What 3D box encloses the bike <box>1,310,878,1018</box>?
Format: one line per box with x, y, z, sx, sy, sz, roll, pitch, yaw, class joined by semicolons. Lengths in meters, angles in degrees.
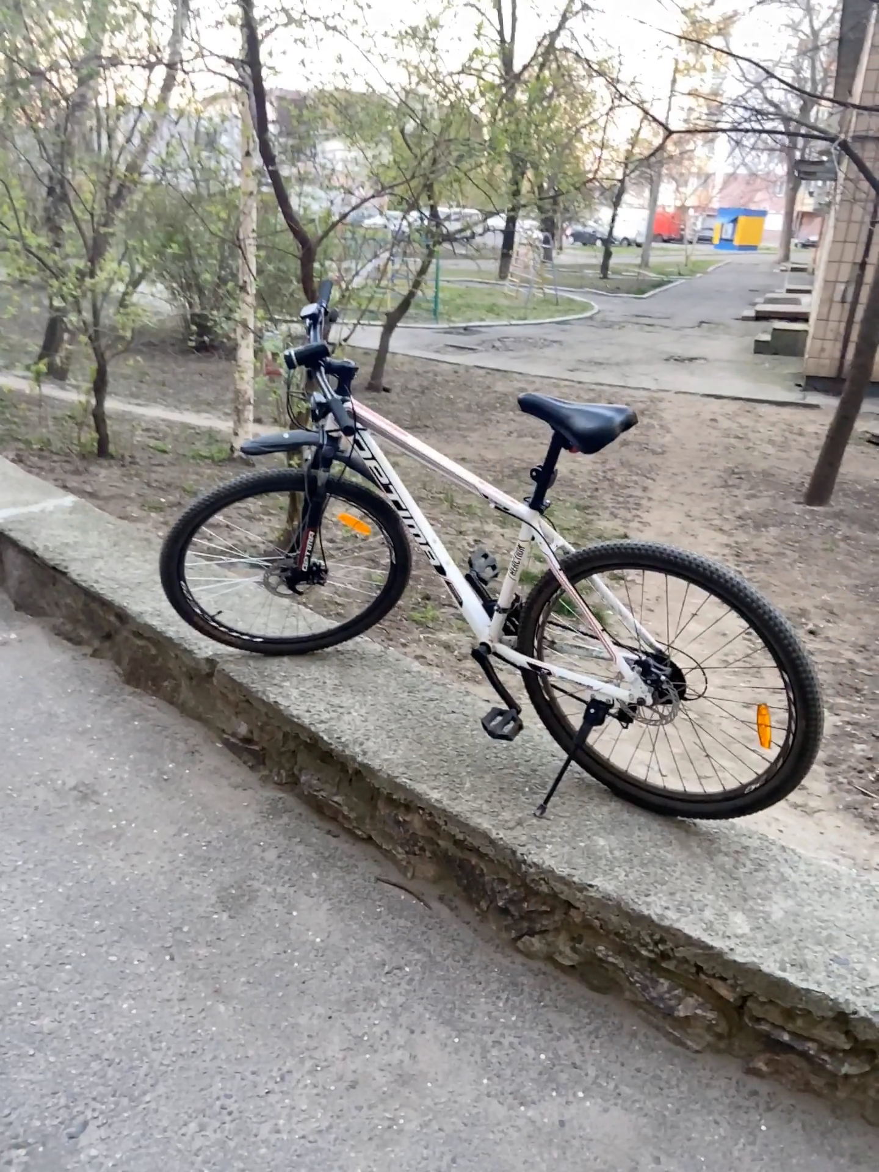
-0.016;0.016;2.060;1.750;1.145;0.681;12;24;24;bike
